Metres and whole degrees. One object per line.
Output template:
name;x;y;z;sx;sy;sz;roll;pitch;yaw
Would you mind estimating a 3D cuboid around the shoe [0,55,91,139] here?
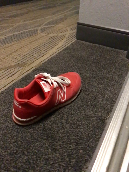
shoe;-0.044;0.014;0.425;0.100;0.107;0.258;32;48;34
